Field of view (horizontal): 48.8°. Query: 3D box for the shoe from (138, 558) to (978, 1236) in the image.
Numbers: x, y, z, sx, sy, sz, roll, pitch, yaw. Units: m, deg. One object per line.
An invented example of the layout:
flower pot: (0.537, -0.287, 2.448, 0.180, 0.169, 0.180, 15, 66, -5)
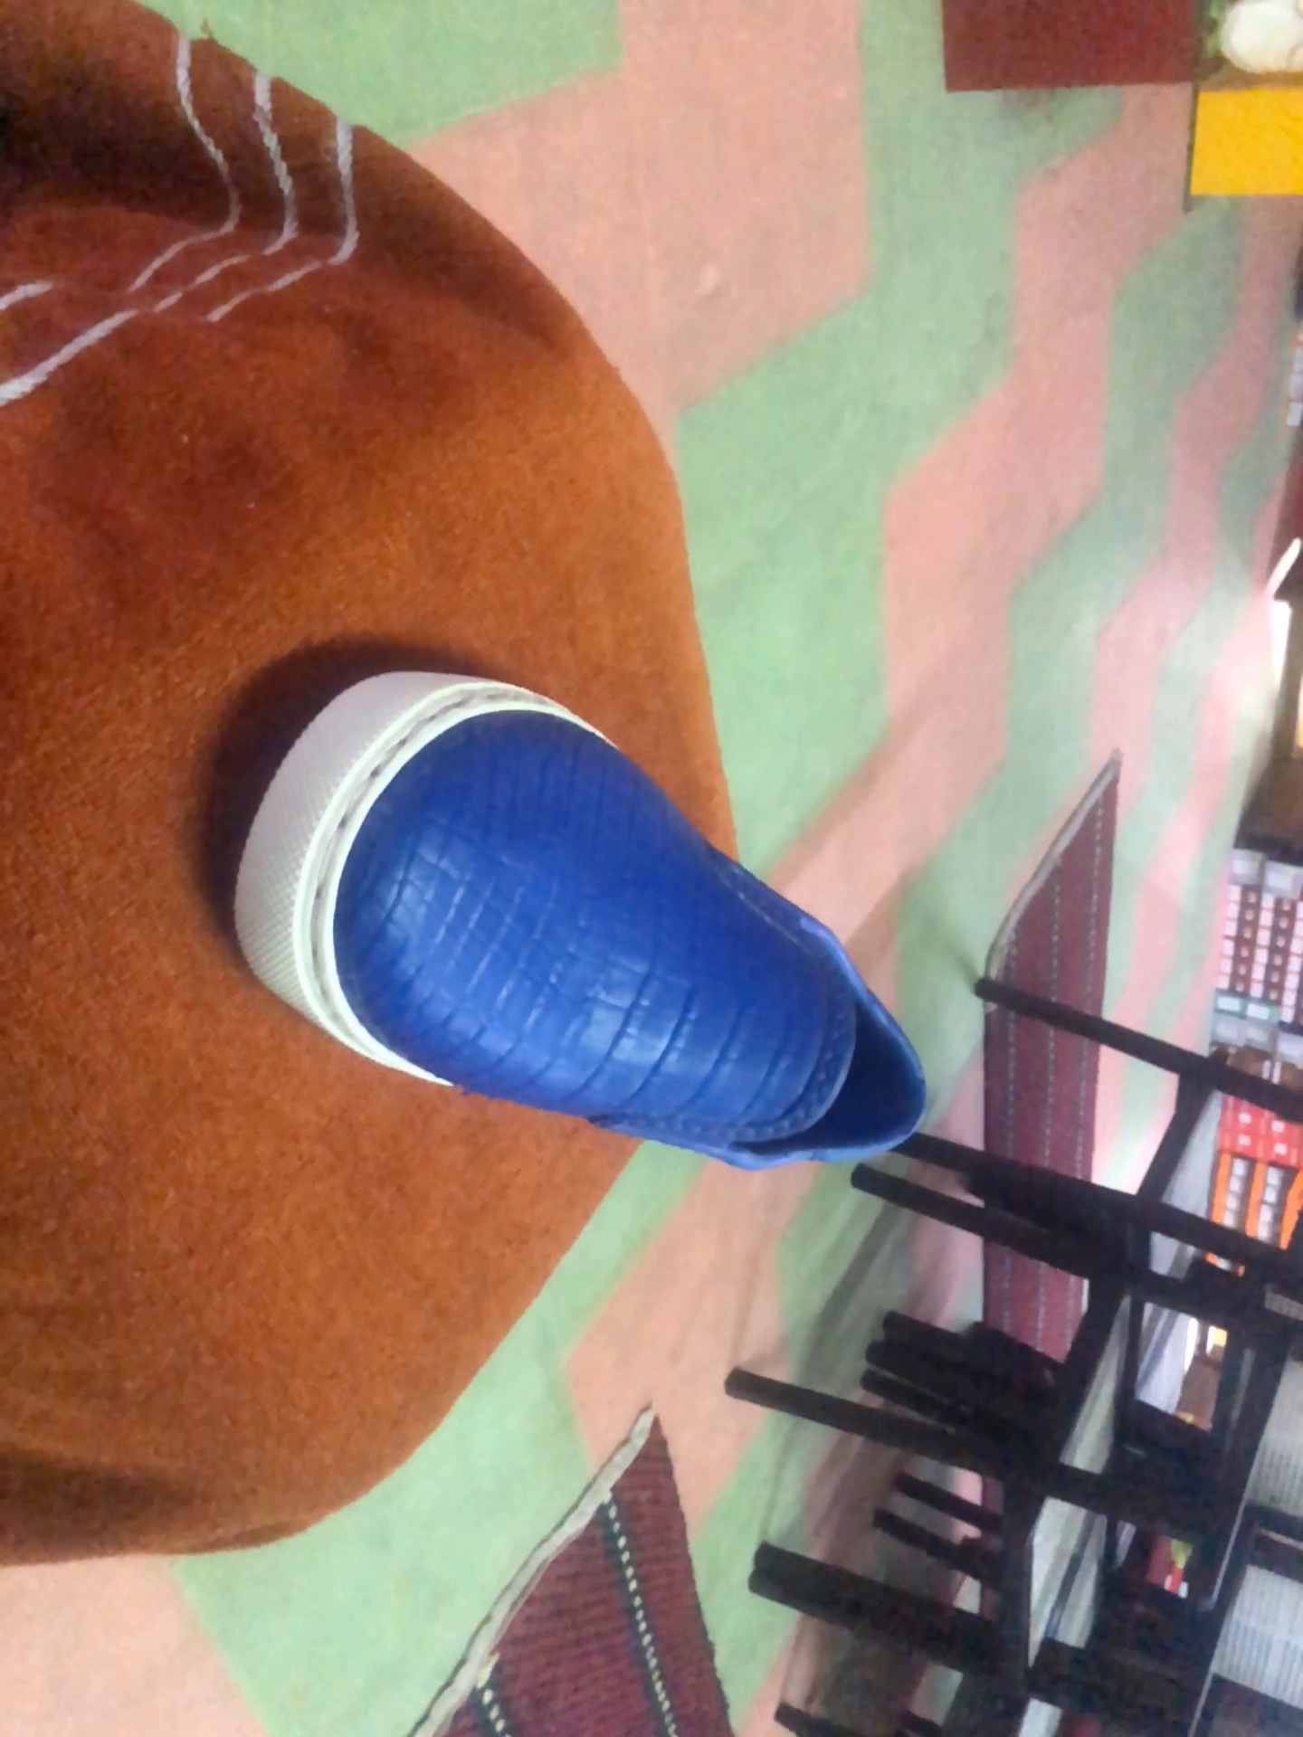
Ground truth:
shoe: (0.007, 0.033, 0.427, 0.302, 0.079, 0.110, 33, 74, -59)
